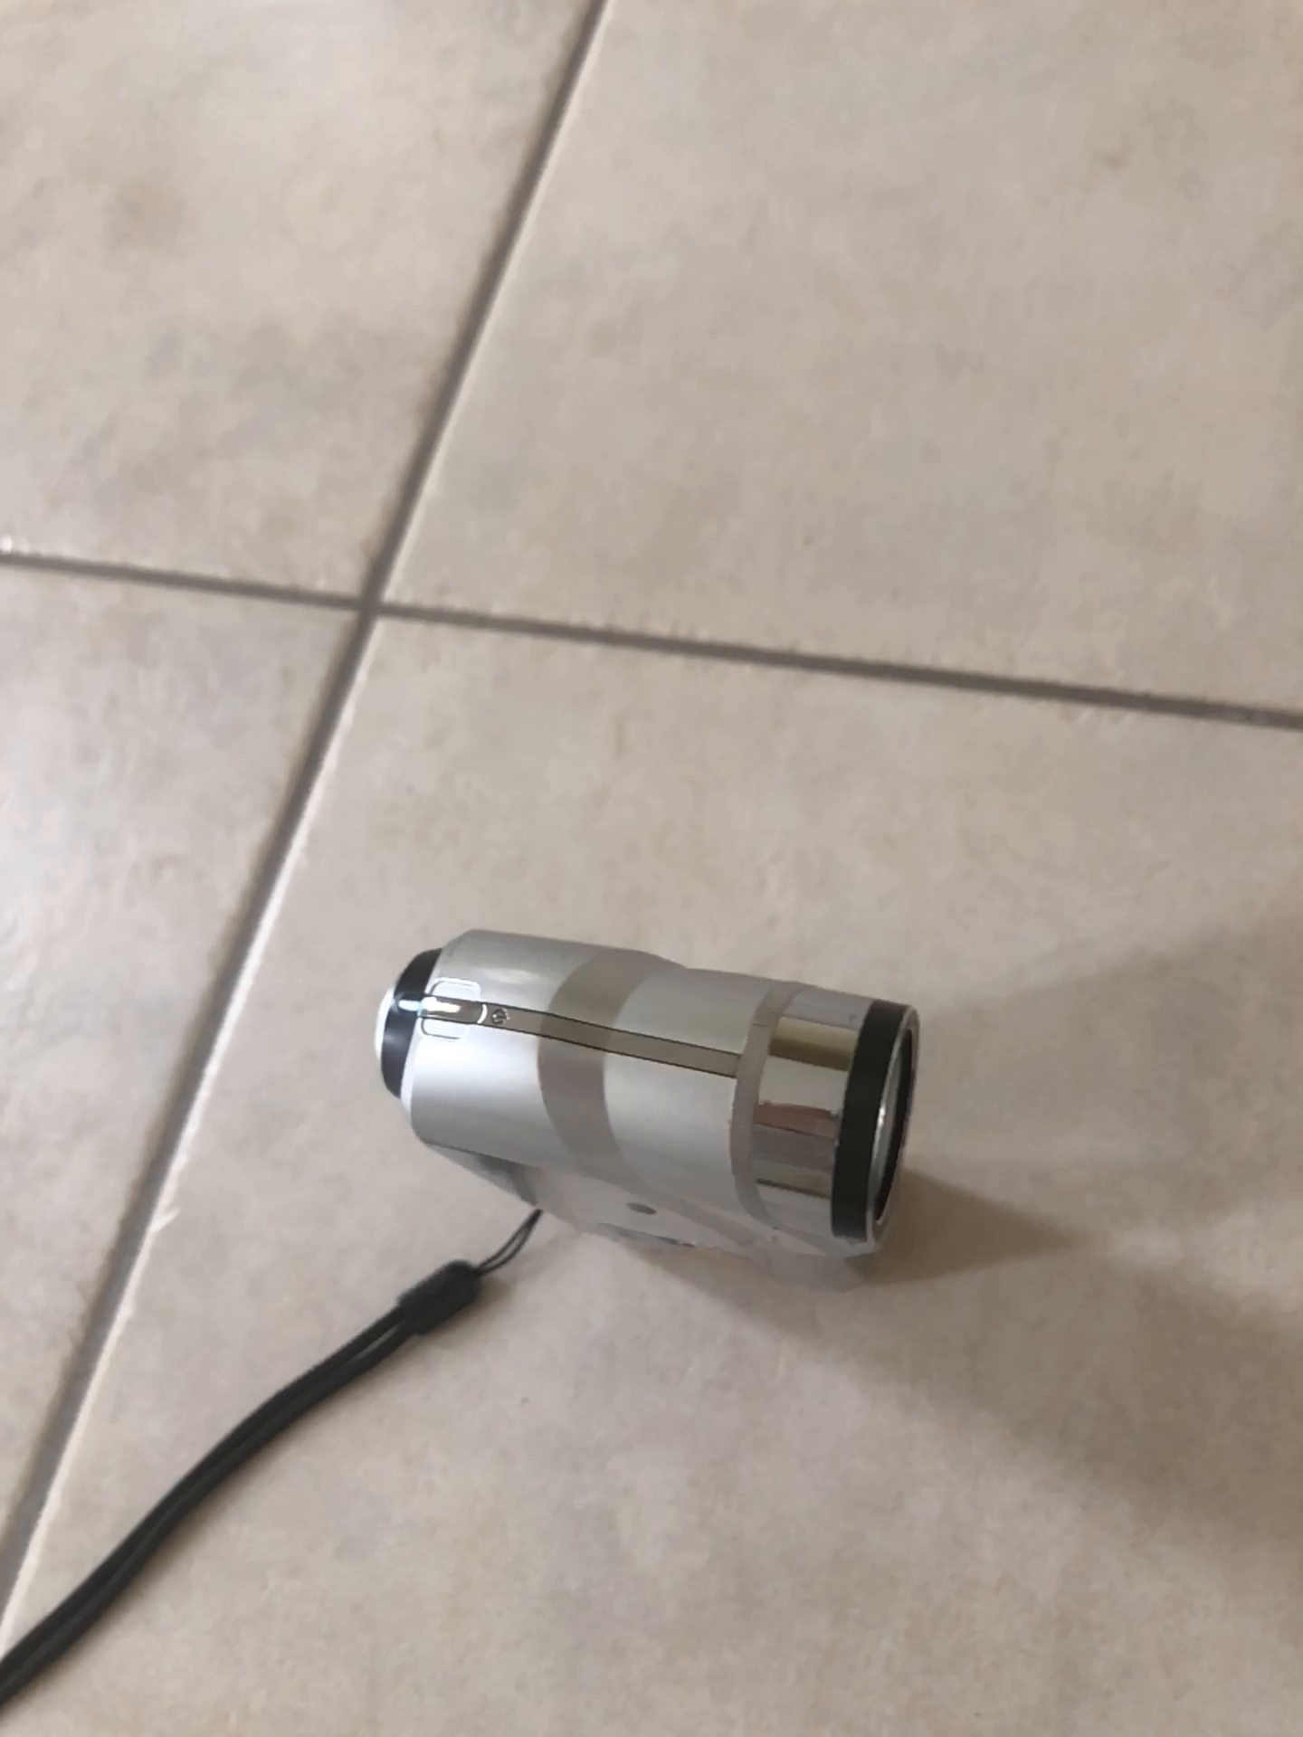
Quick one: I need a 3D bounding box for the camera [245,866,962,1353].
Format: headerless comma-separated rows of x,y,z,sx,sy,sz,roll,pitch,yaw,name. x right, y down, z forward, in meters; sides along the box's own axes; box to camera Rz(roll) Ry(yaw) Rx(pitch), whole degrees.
0.003,0.043,0.230,0.080,0.110,0.040,7,70,17,camera
